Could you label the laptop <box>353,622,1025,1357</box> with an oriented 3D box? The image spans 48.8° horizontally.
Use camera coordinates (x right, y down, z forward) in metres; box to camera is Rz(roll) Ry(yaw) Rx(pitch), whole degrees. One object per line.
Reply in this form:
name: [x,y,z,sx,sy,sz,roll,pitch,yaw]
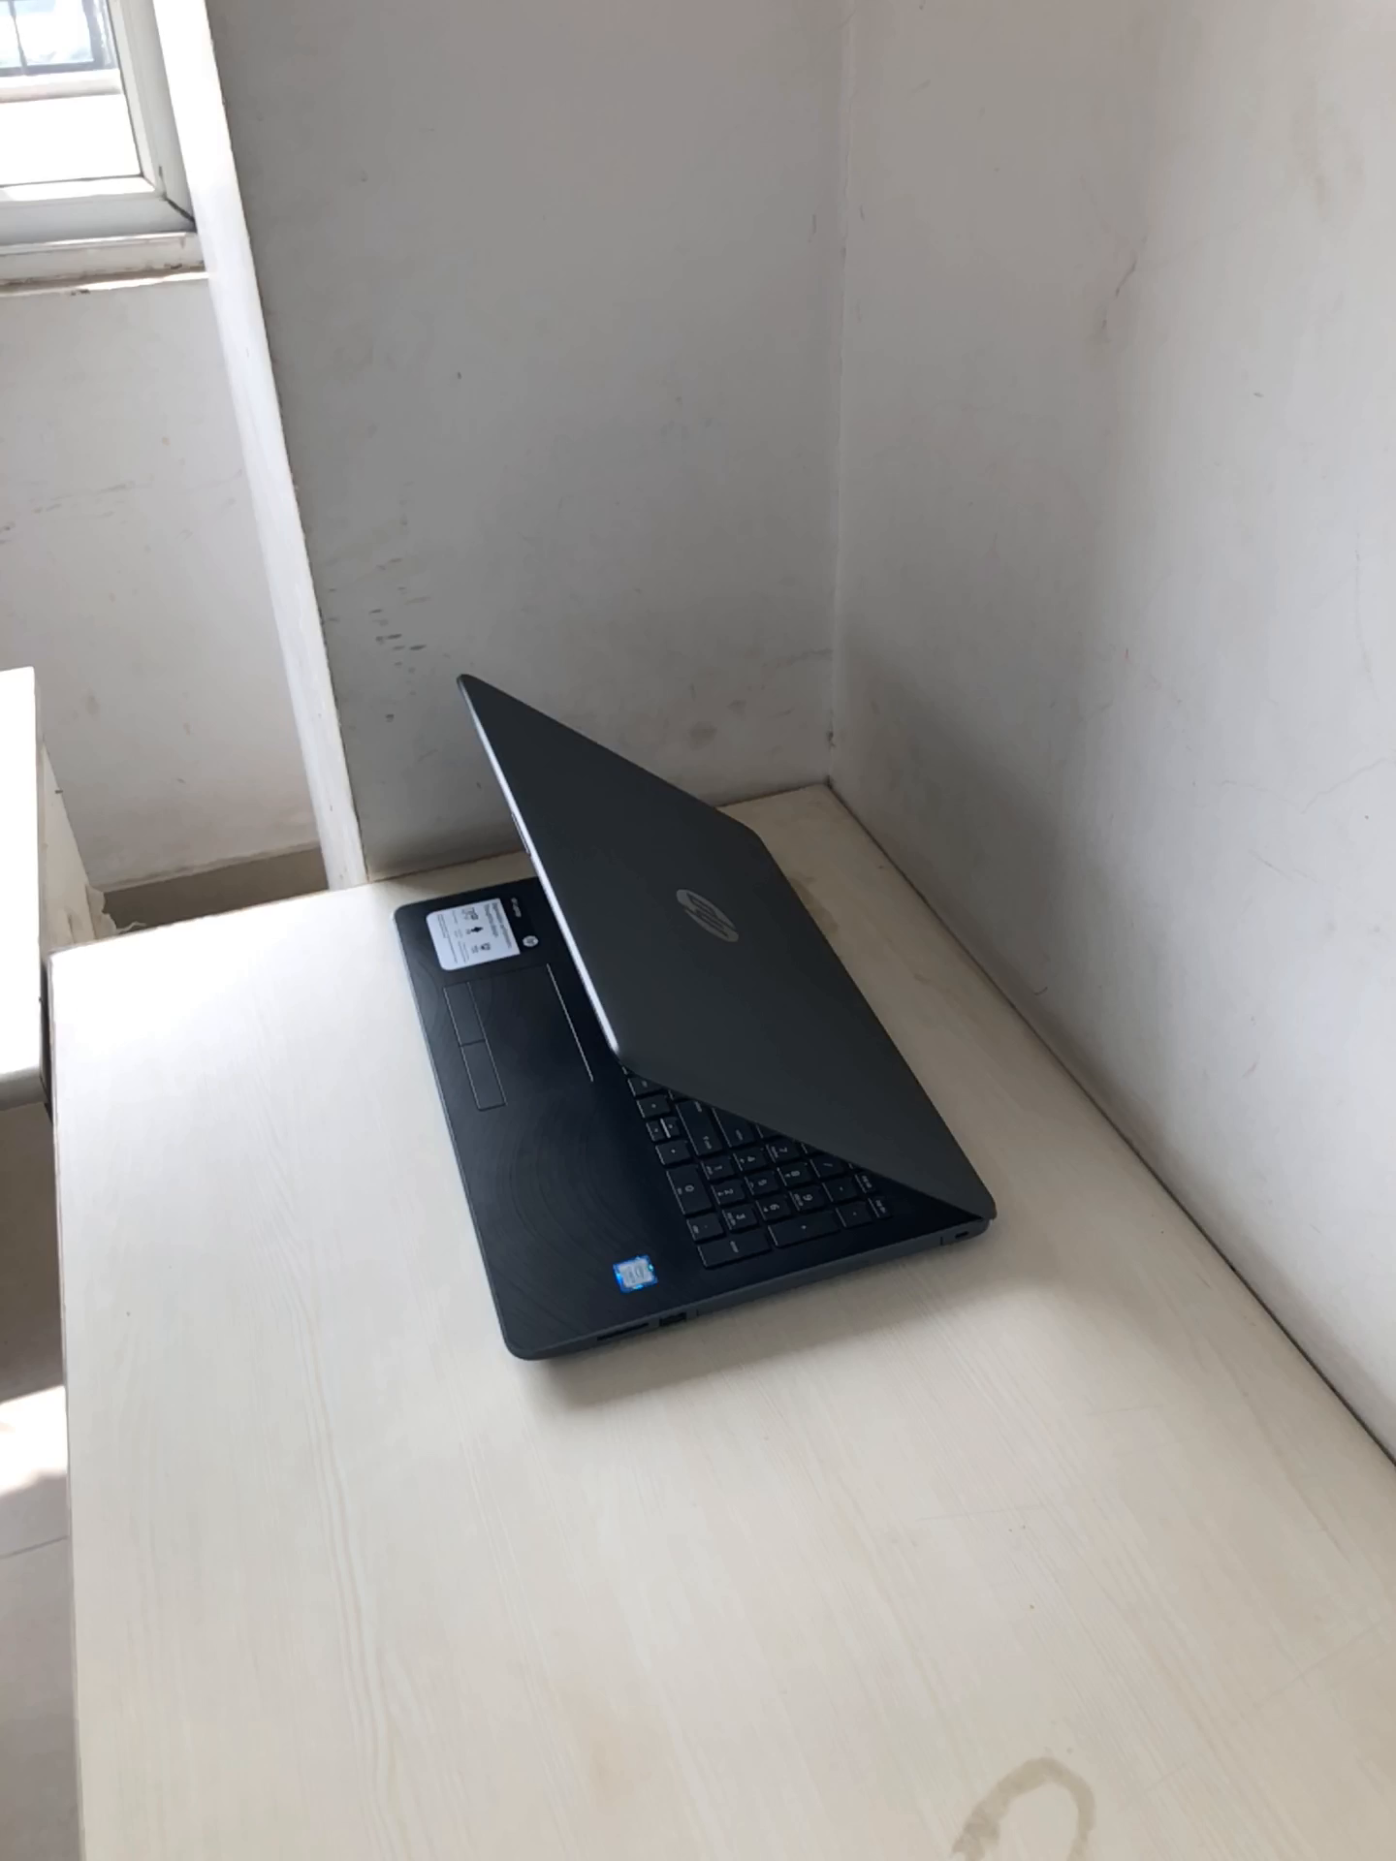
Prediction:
laptop: [-0.025,0.003,0.825,0.244,0.156,0.358,-11,39,-15]
